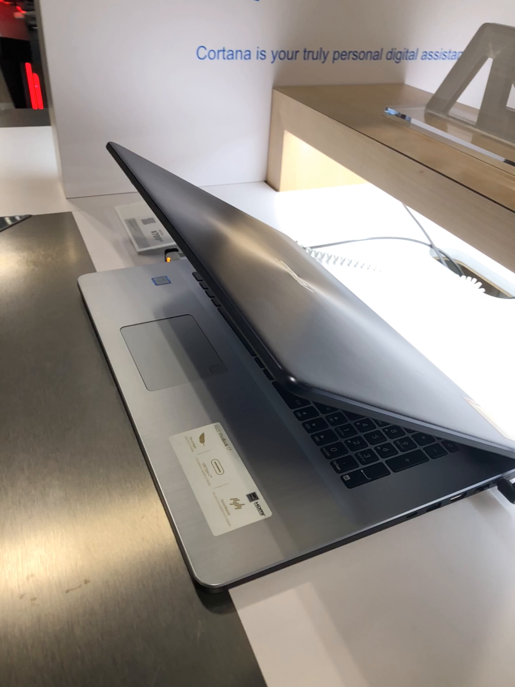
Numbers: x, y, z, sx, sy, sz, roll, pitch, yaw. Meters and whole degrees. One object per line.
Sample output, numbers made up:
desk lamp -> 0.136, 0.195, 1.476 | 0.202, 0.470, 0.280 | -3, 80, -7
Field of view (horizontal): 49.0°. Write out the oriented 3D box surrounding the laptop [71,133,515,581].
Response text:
laptop -> 0.012, -0.048, 0.493 | 0.259, 0.144, 0.393 | -12, 38, -21
